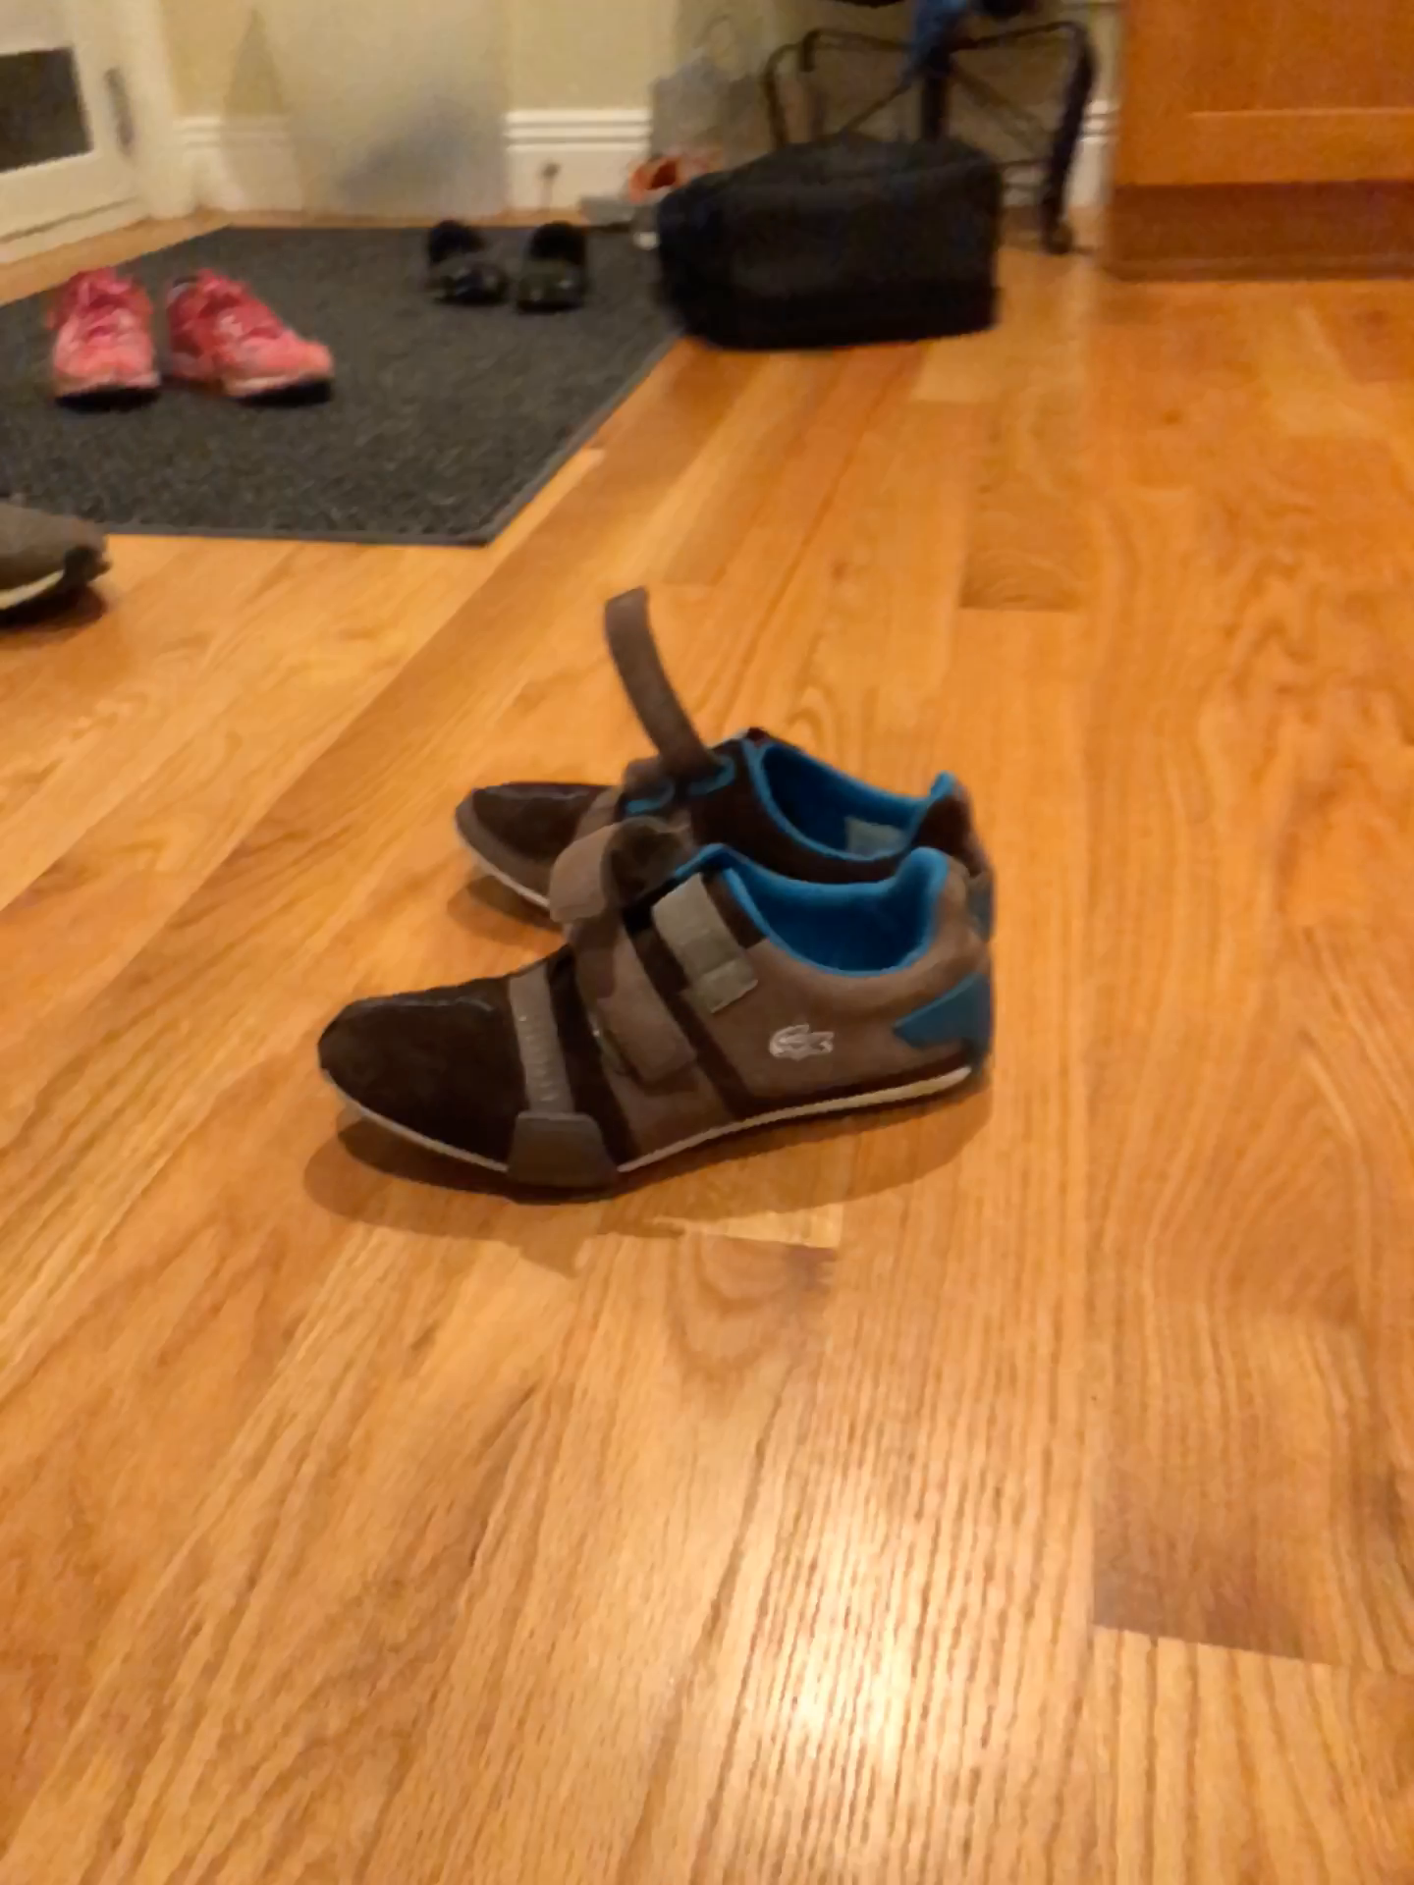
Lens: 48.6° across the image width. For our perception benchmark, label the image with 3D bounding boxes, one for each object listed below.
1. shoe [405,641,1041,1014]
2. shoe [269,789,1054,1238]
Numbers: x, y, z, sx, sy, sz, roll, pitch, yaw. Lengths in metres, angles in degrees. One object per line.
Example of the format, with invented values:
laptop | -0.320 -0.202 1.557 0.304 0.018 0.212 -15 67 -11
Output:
shoe | 0.007 -0.059 0.699 0.255 0.091 0.103 11 34 21
shoe | -0.017 0.021 0.570 0.255 0.091 0.103 -7 32 -7
